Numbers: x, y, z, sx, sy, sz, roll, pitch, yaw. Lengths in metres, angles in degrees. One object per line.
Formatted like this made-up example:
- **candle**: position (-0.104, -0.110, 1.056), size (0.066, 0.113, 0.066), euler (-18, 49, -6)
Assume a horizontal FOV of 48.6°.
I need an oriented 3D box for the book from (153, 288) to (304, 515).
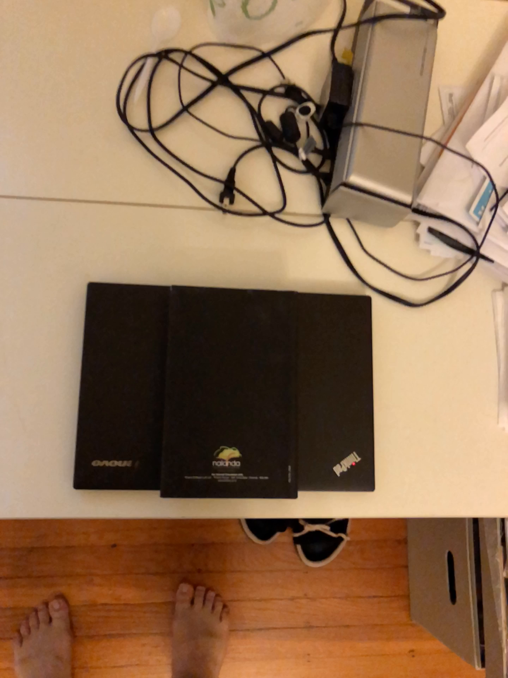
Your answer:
- **book**: position (-0.025, 0.065, 0.600), size (0.150, 0.040, 0.230), euler (2, 79, -6)
